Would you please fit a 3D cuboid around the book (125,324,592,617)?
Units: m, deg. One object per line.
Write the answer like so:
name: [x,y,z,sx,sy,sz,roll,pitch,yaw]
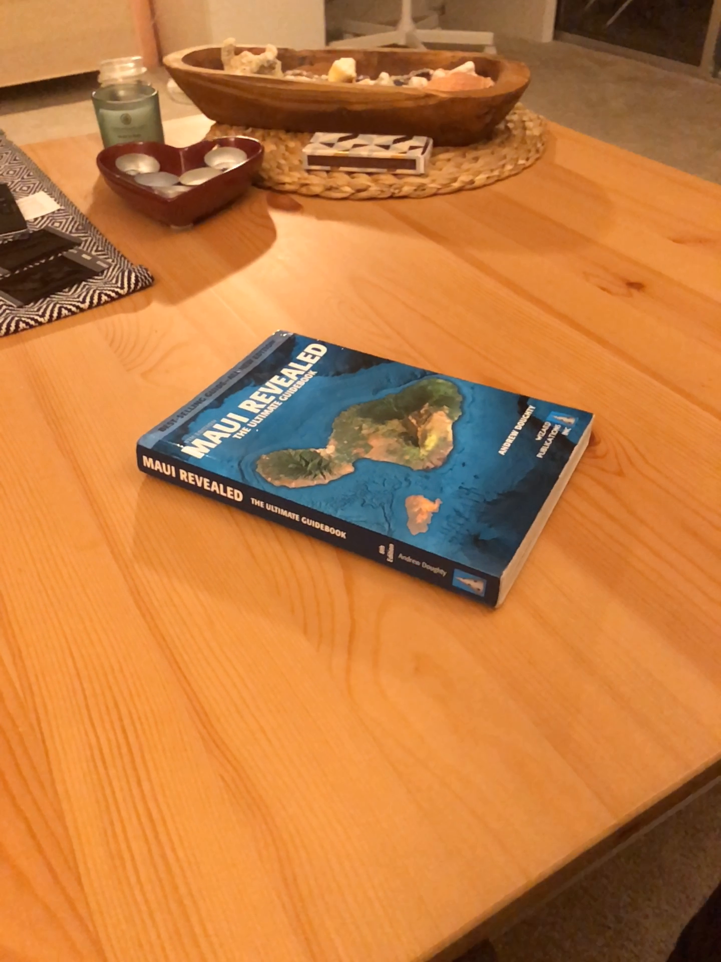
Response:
book: [0.004,-0.020,0.423,0.200,0.020,0.147,19,42,20]
